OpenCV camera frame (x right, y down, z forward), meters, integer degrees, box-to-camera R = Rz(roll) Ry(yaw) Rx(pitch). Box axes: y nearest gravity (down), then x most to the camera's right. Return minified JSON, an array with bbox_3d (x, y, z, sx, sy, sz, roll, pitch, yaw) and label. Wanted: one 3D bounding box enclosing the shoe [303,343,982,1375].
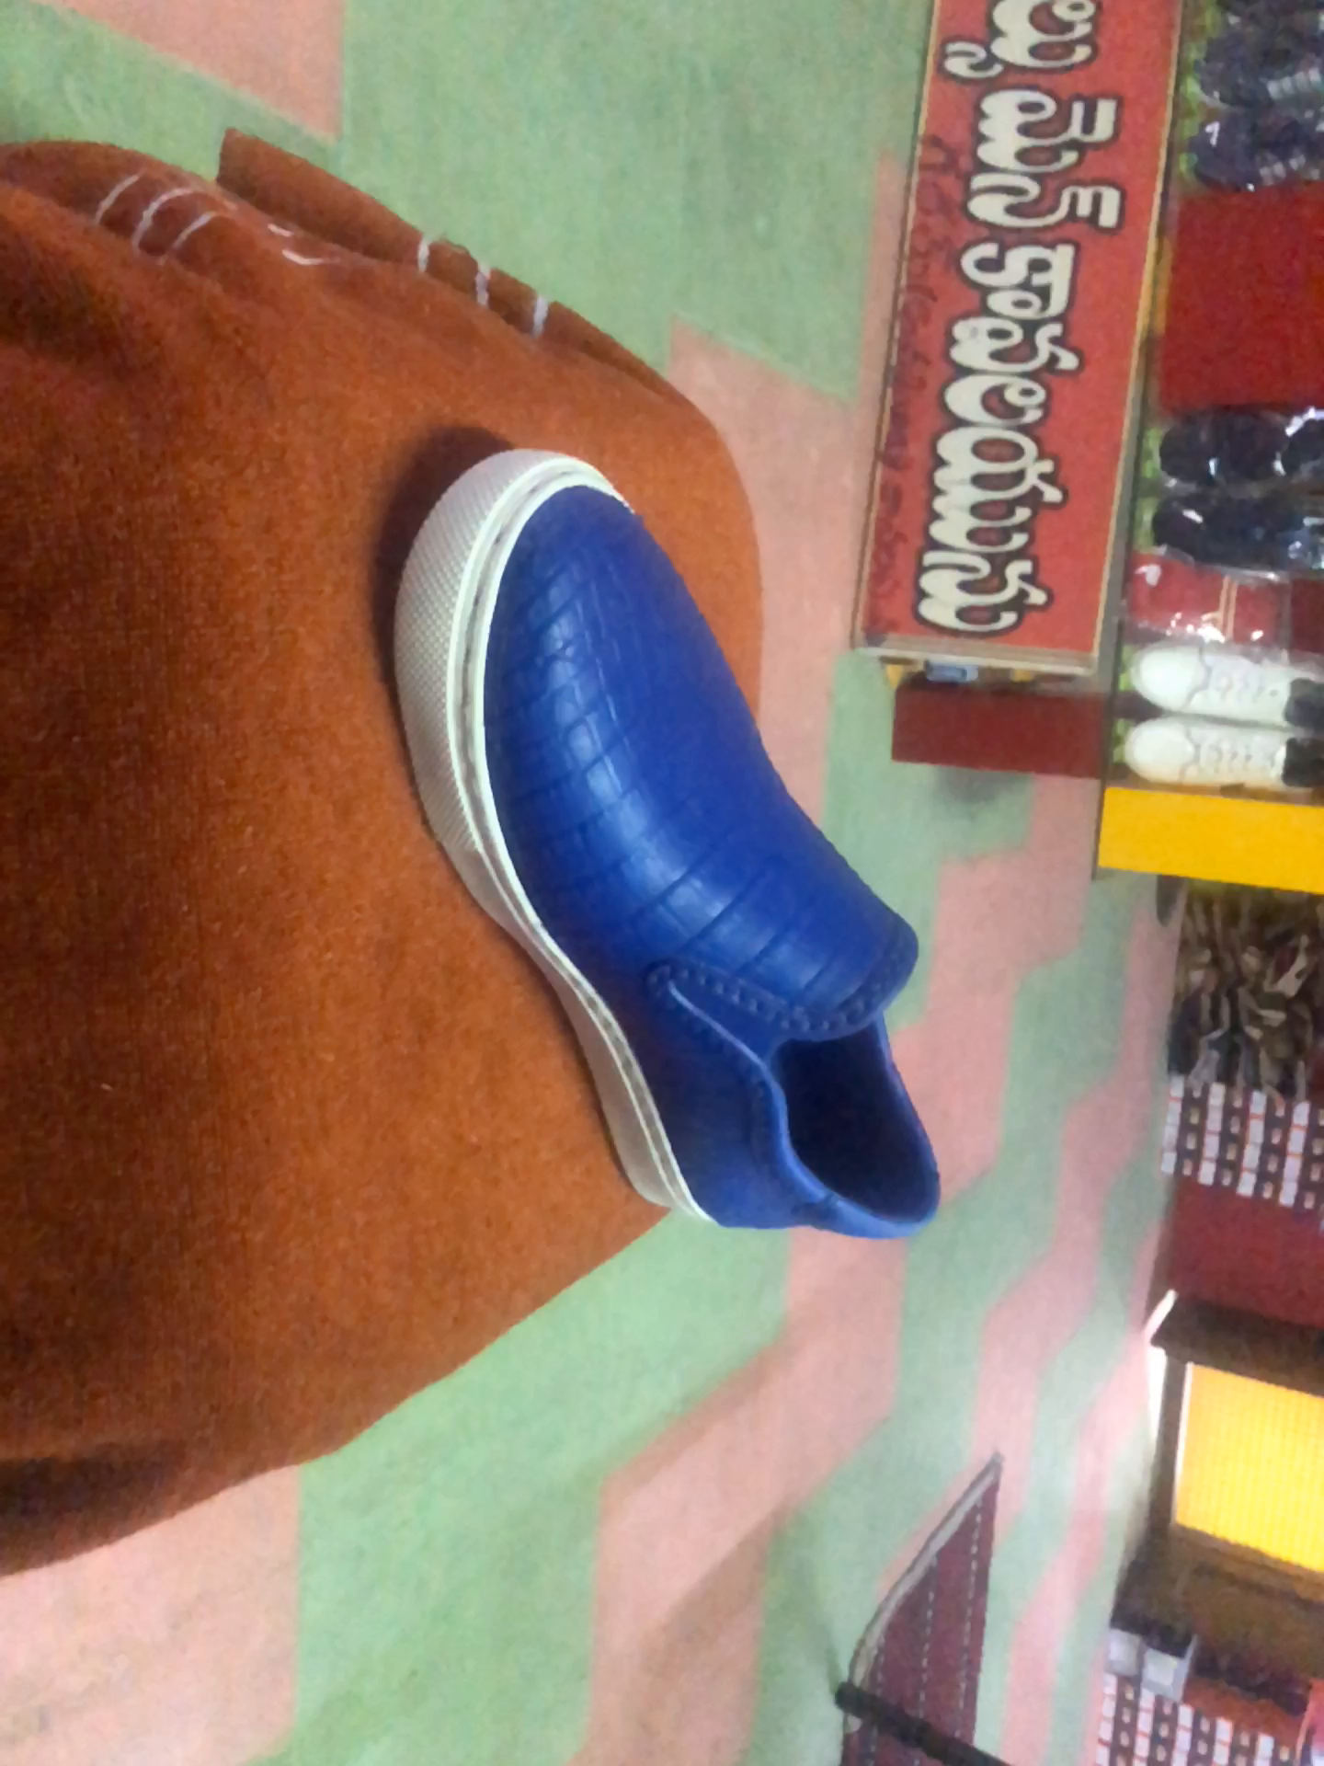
[{"bbox_3d":[0.020,0.011,0.435,0.110,0.079,0.301,-58,142,-36],"label":"shoe"}]
